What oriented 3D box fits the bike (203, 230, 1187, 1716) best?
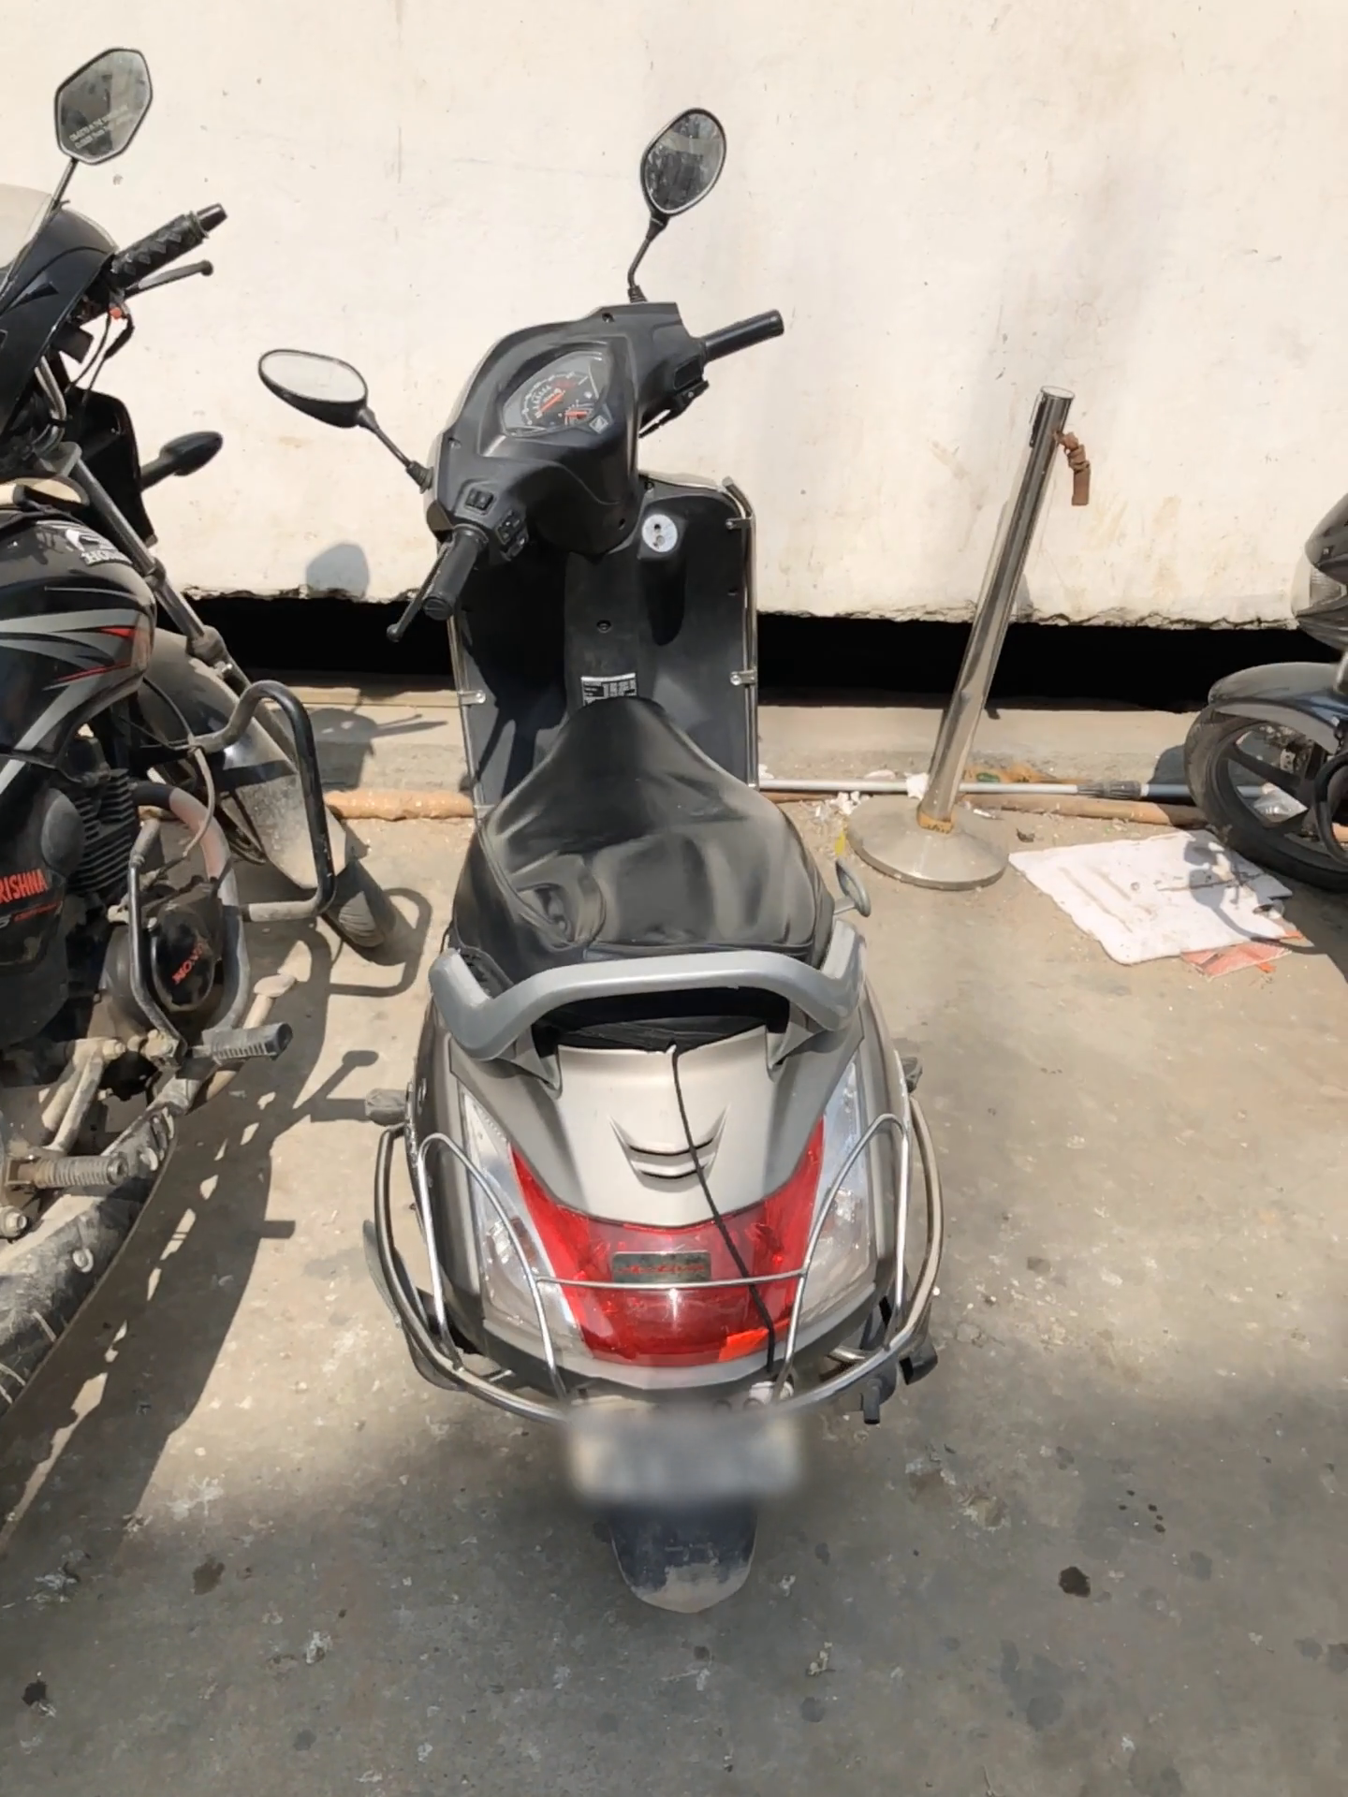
[{"bbox_3d":[-0.091,-0.084,1.827,0.616,1.107,1.508,4,31,-8],"label":"bike"}]
